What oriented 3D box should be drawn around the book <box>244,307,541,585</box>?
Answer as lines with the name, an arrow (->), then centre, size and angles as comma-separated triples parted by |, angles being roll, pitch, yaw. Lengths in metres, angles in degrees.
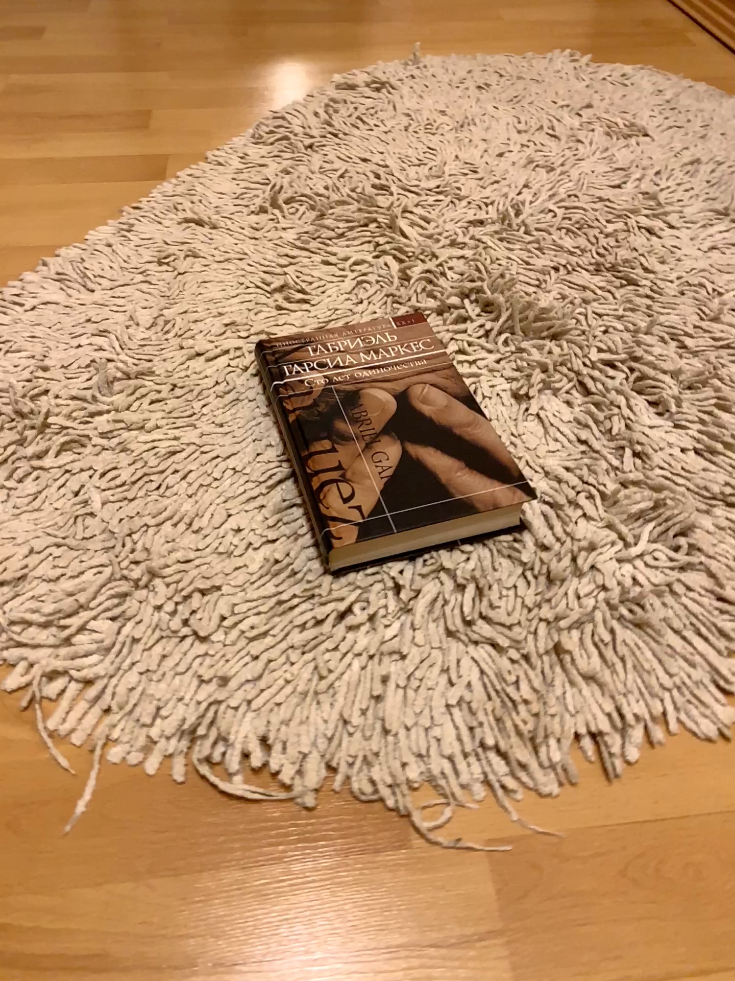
book -> 0.006, -0.044, 0.515 | 0.140, 0.030, 0.212 | -12, 49, -12
